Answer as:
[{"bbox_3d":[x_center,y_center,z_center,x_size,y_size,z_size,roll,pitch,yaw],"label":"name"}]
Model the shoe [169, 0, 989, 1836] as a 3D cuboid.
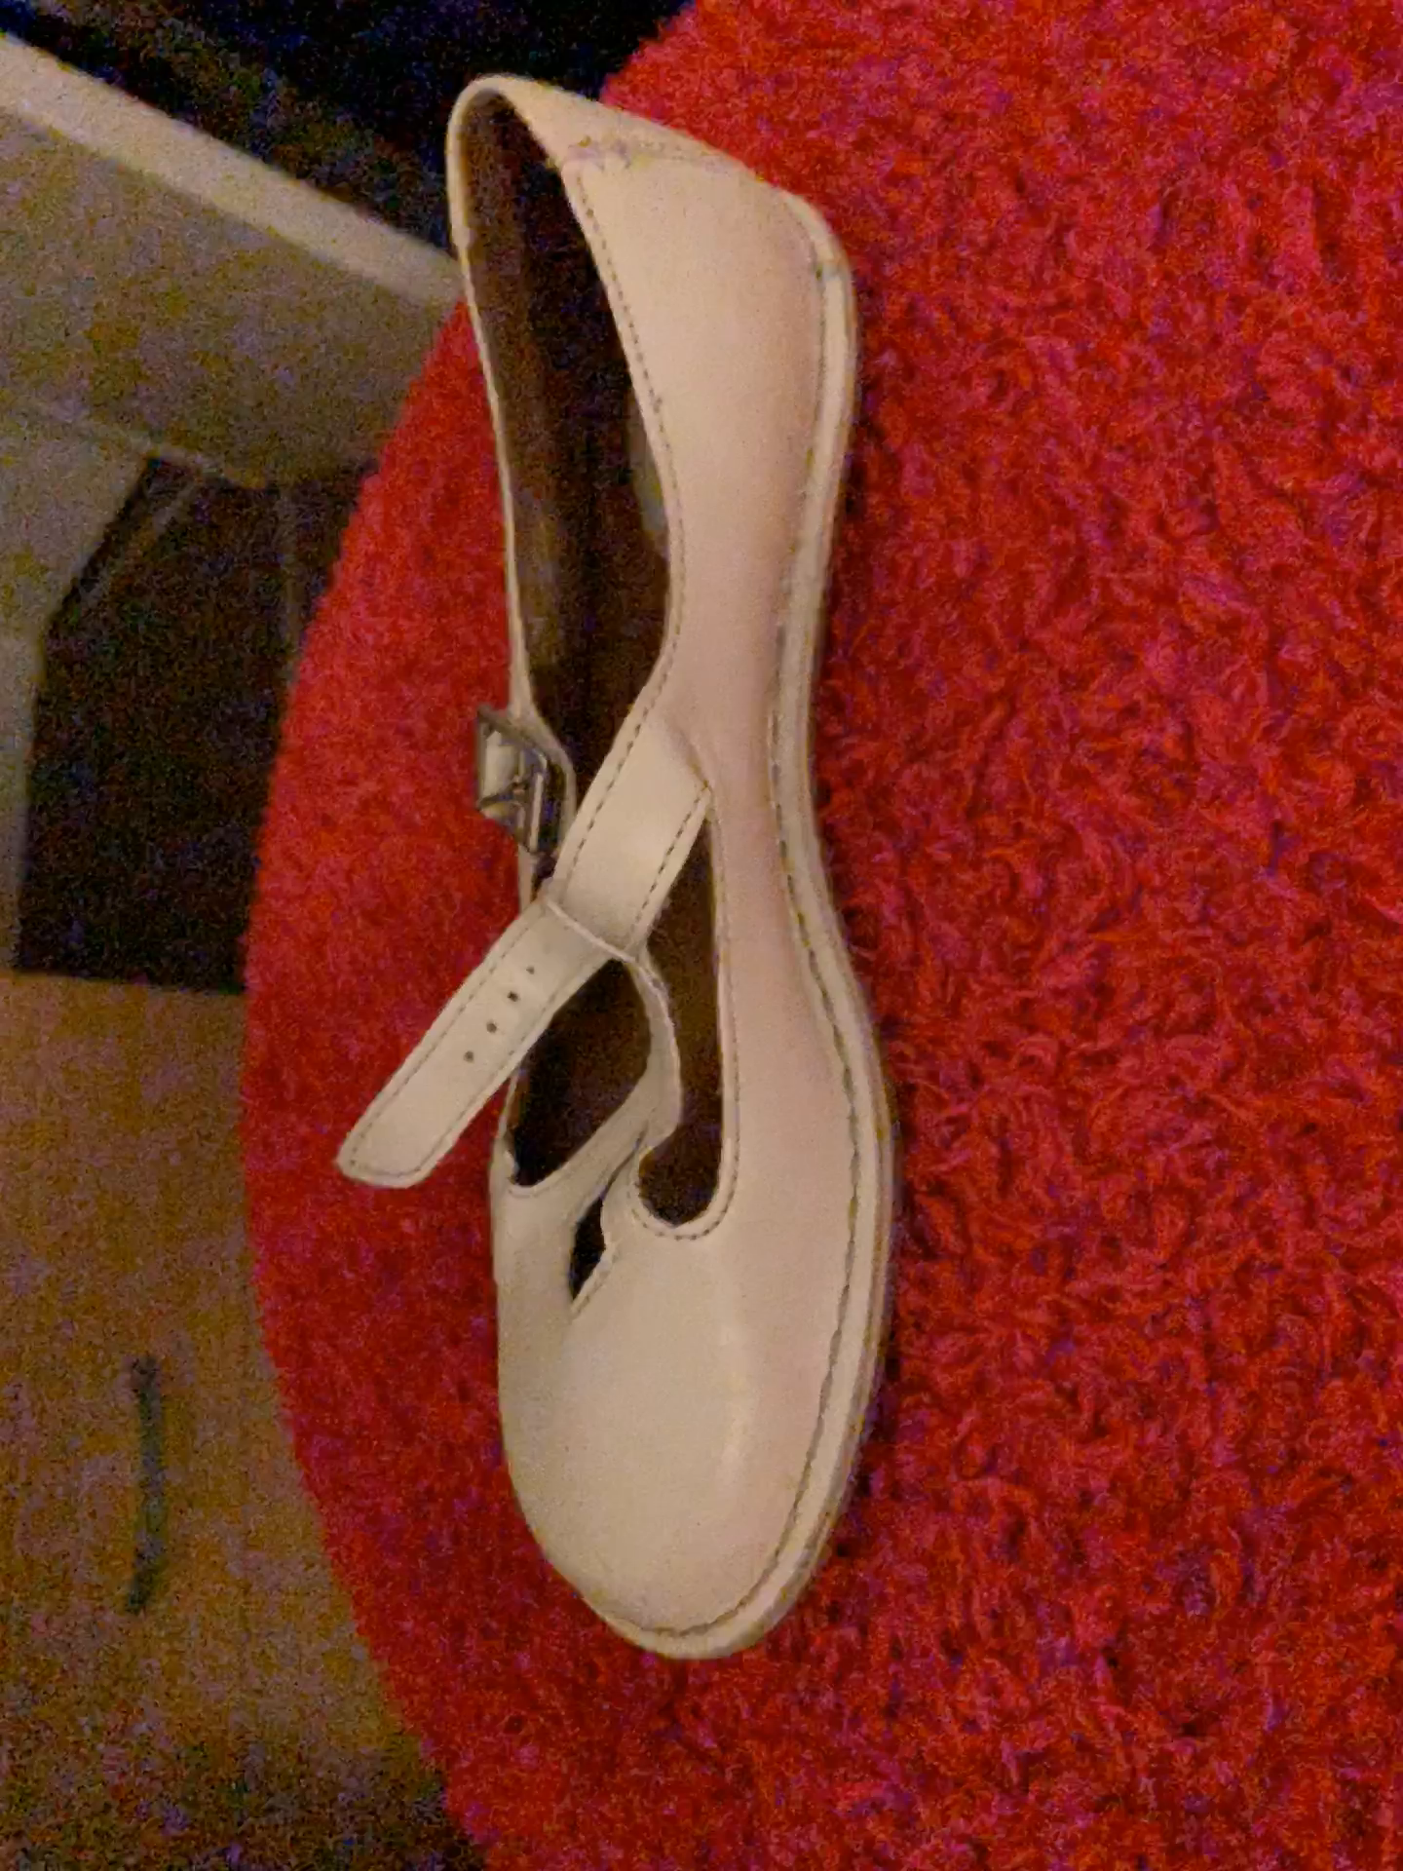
[{"bbox_3d":[-0.021,-0.008,0.264,0.101,0.089,0.260,-13,72,47],"label":"shoe"}]
